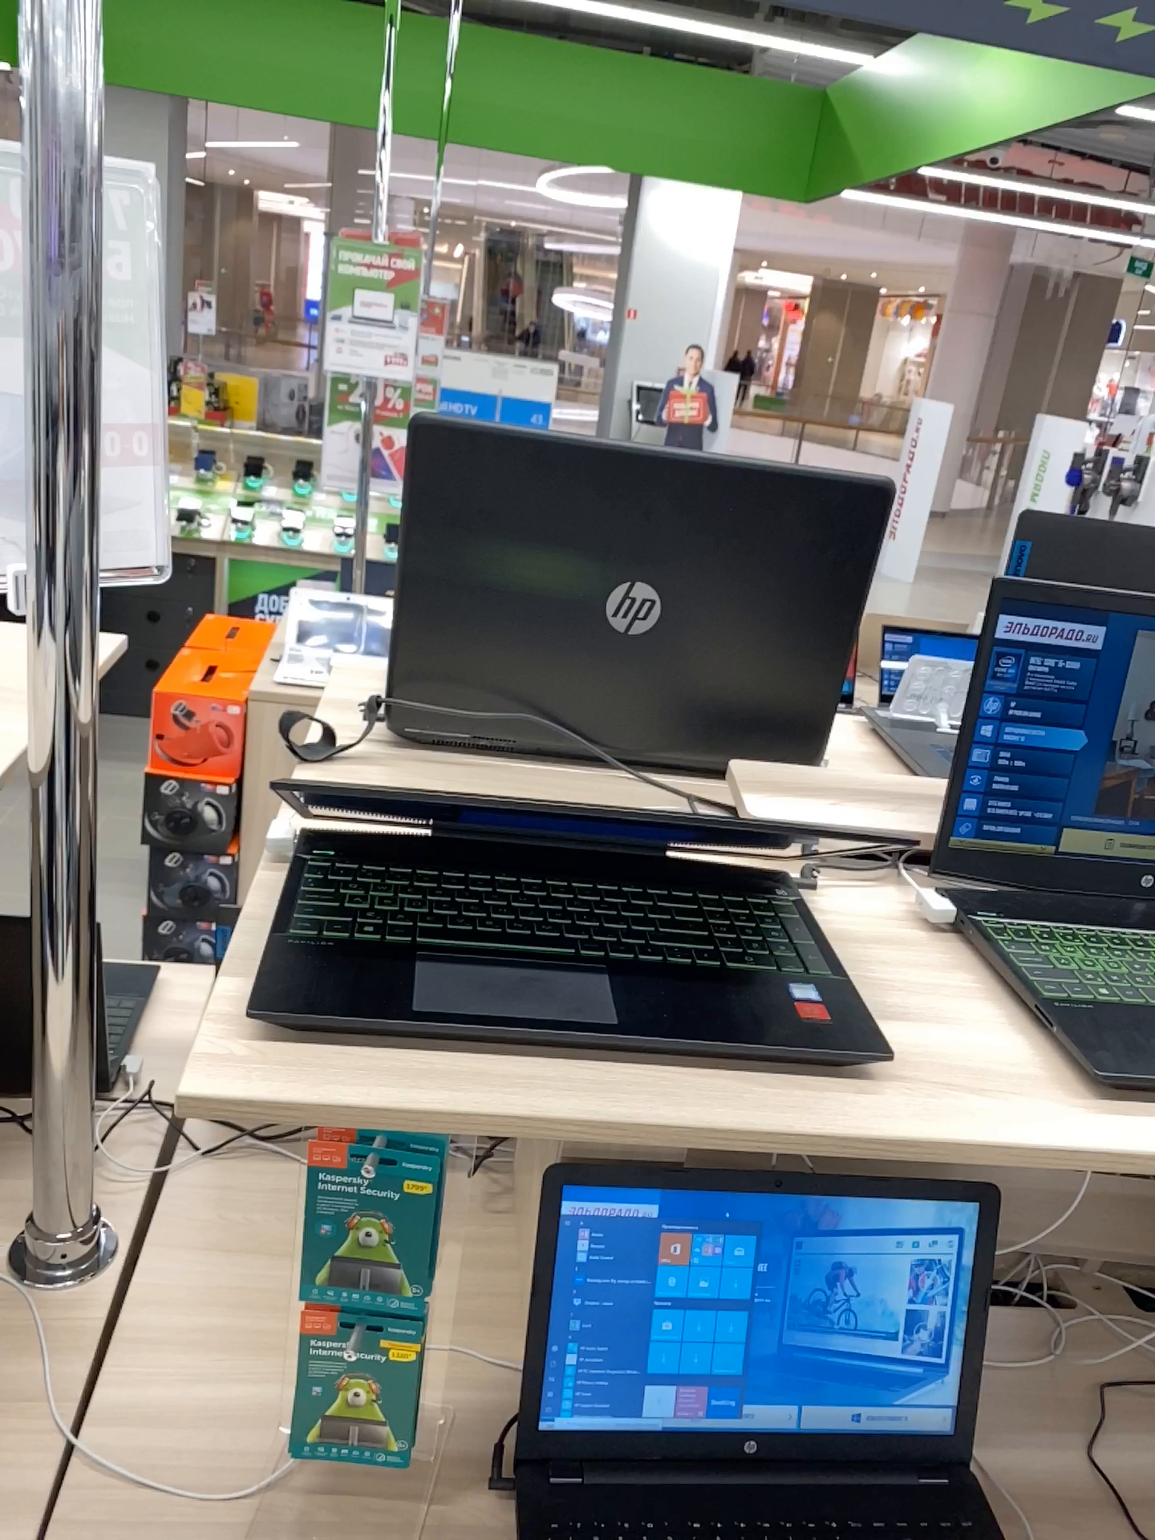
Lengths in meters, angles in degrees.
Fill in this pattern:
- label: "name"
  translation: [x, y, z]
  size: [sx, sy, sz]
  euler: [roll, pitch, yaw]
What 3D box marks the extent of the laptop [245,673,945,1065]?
- label: "laptop"
  translation: [0.000, 0.051, 0.745]
  size: [0.364, 0.115, 0.245]
  euler: [7, 20, -8]
